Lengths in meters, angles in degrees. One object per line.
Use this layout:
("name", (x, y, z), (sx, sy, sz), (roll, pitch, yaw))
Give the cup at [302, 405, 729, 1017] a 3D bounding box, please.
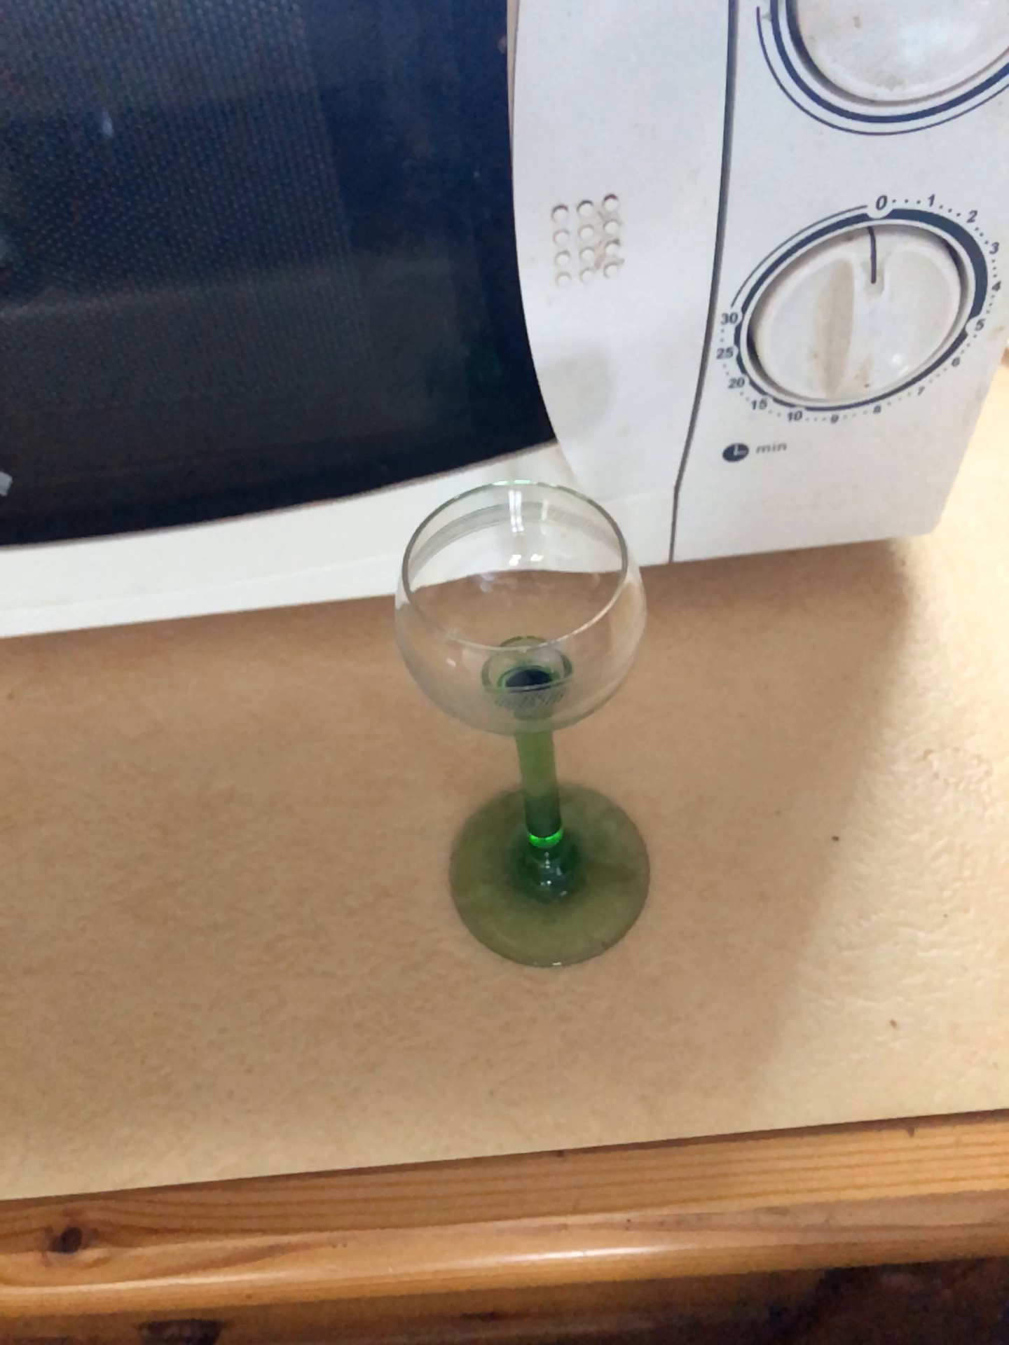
("cup", (0.004, 0.017, 0.249), (0.060, 0.129, 0.060), (-2, 54, 3))
